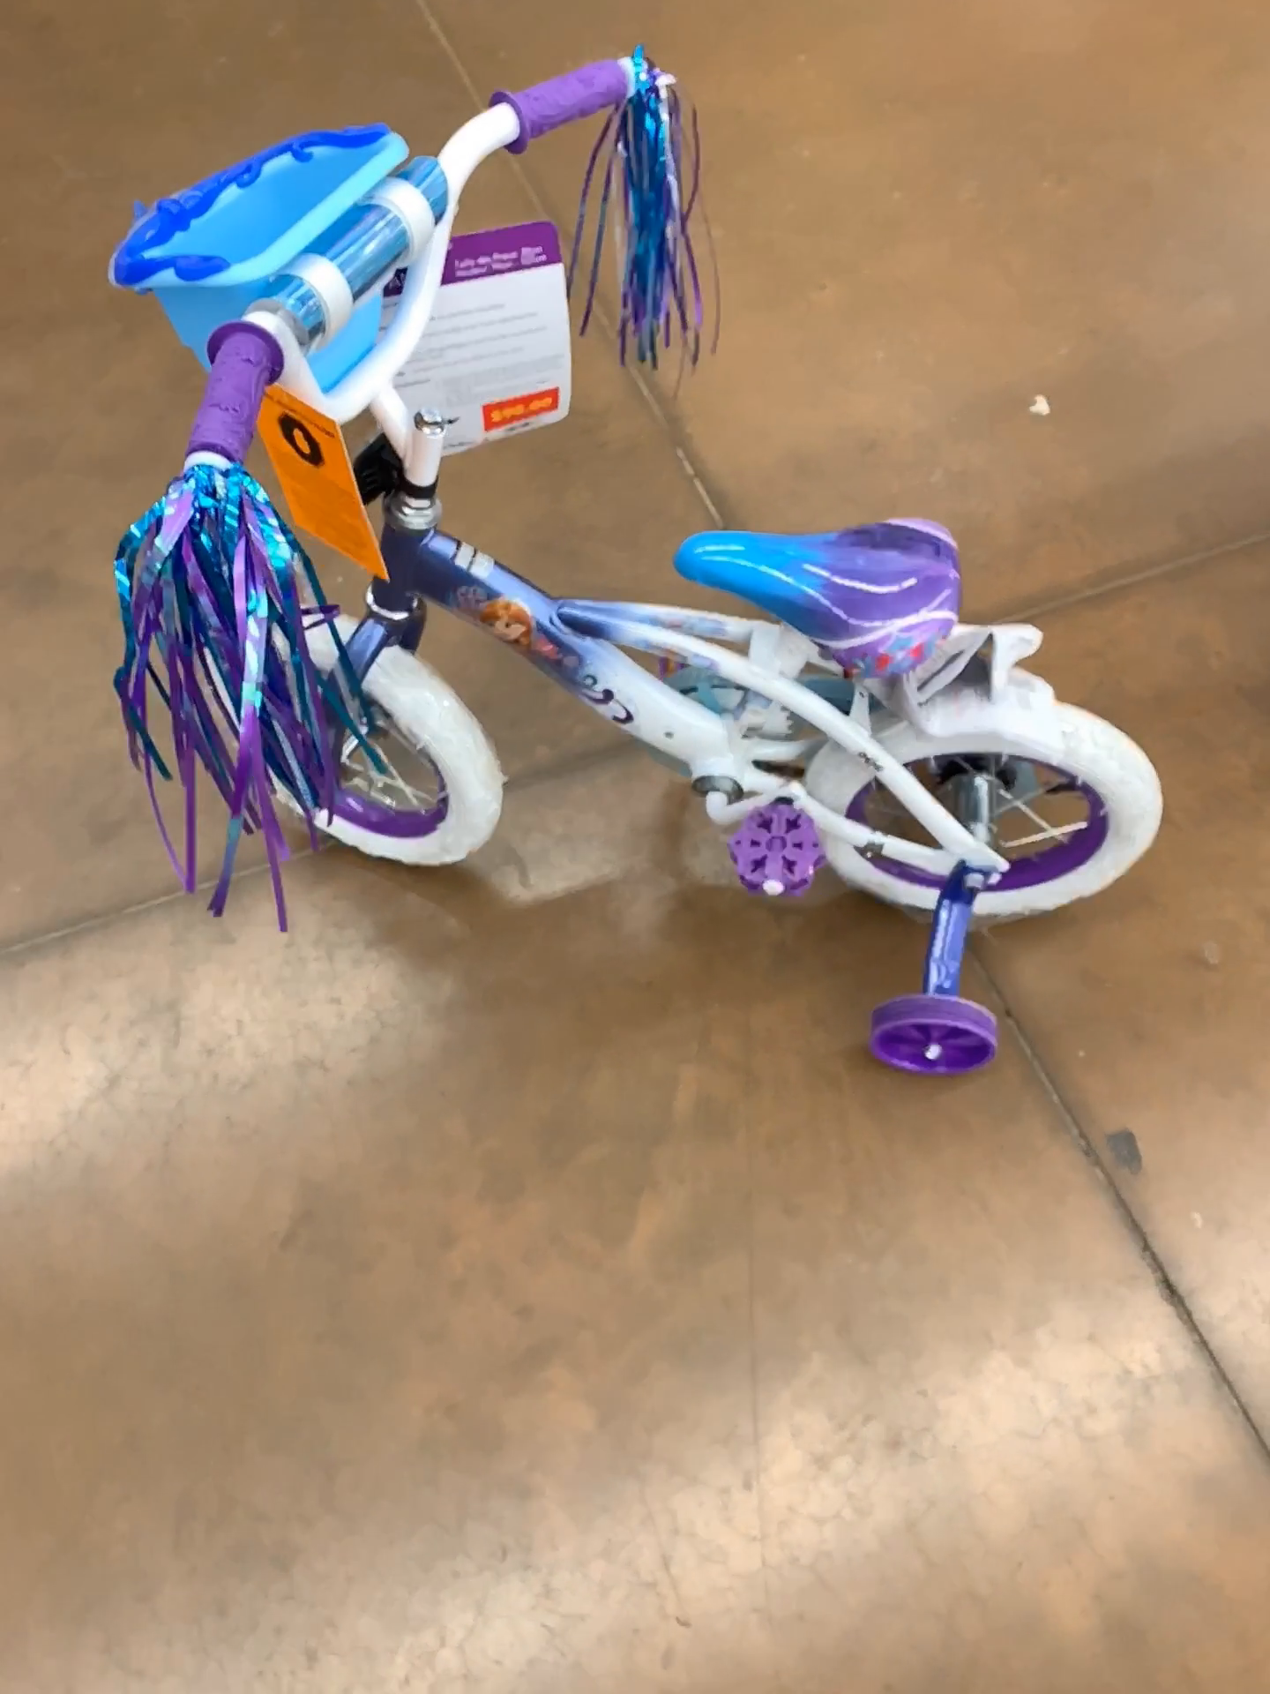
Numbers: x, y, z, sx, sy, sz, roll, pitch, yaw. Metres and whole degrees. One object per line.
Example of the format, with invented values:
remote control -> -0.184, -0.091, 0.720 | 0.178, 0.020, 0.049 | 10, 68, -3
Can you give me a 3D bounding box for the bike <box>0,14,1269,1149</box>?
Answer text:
bike -> 0.084, -0.129, 0.934 | 0.651, 0.644, 0.474 | 4, 59, 4
